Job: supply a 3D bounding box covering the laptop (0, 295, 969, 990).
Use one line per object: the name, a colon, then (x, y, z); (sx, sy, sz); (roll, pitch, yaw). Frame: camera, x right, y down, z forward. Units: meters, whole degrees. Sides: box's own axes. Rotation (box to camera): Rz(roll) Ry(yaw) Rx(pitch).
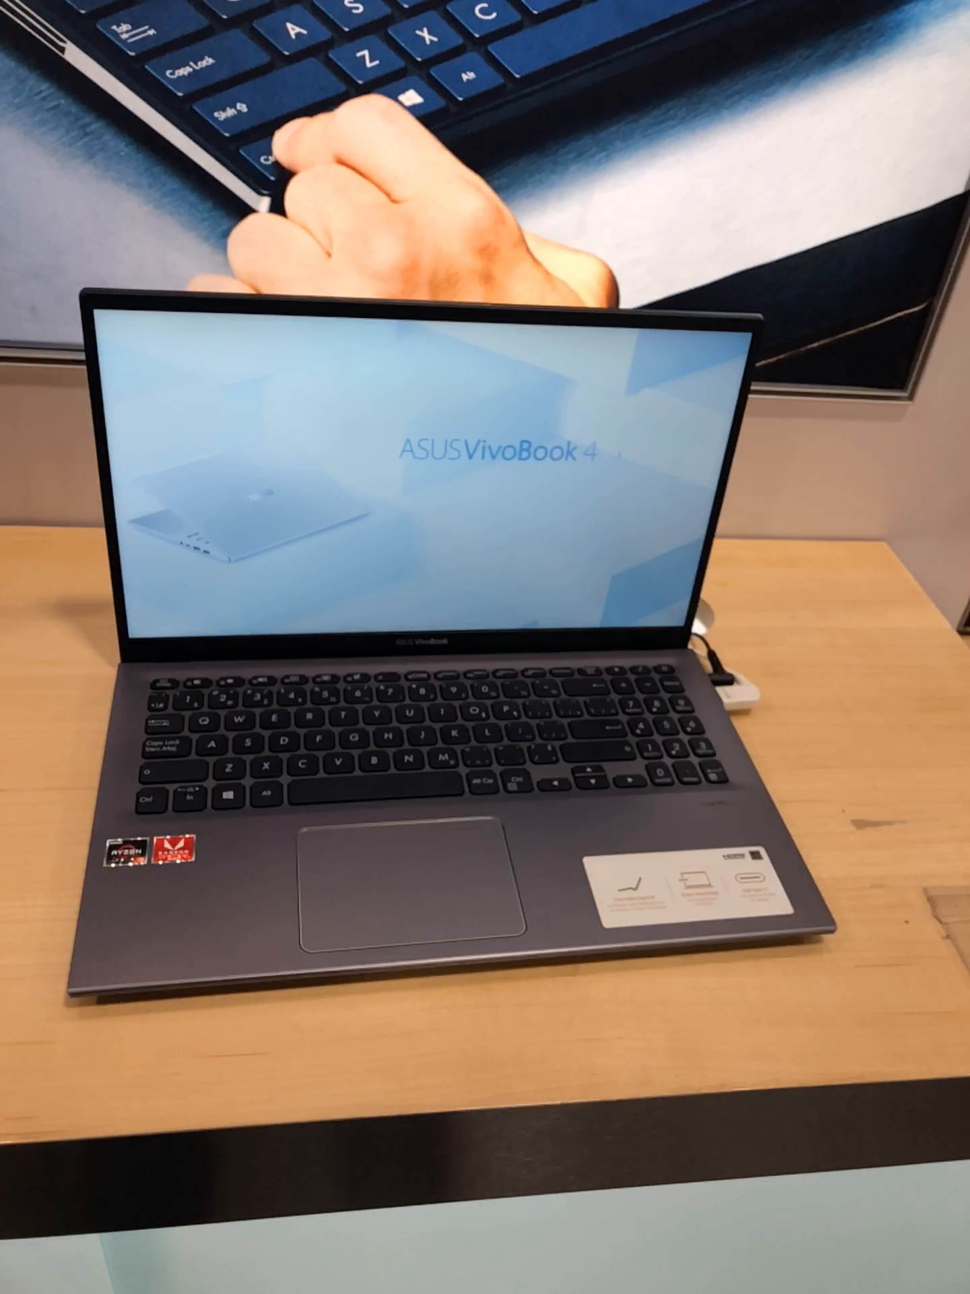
laptop: (-0.011, -0.015, 0.512); (0.349, 0.211, 0.243); (-1, 37, -11)
